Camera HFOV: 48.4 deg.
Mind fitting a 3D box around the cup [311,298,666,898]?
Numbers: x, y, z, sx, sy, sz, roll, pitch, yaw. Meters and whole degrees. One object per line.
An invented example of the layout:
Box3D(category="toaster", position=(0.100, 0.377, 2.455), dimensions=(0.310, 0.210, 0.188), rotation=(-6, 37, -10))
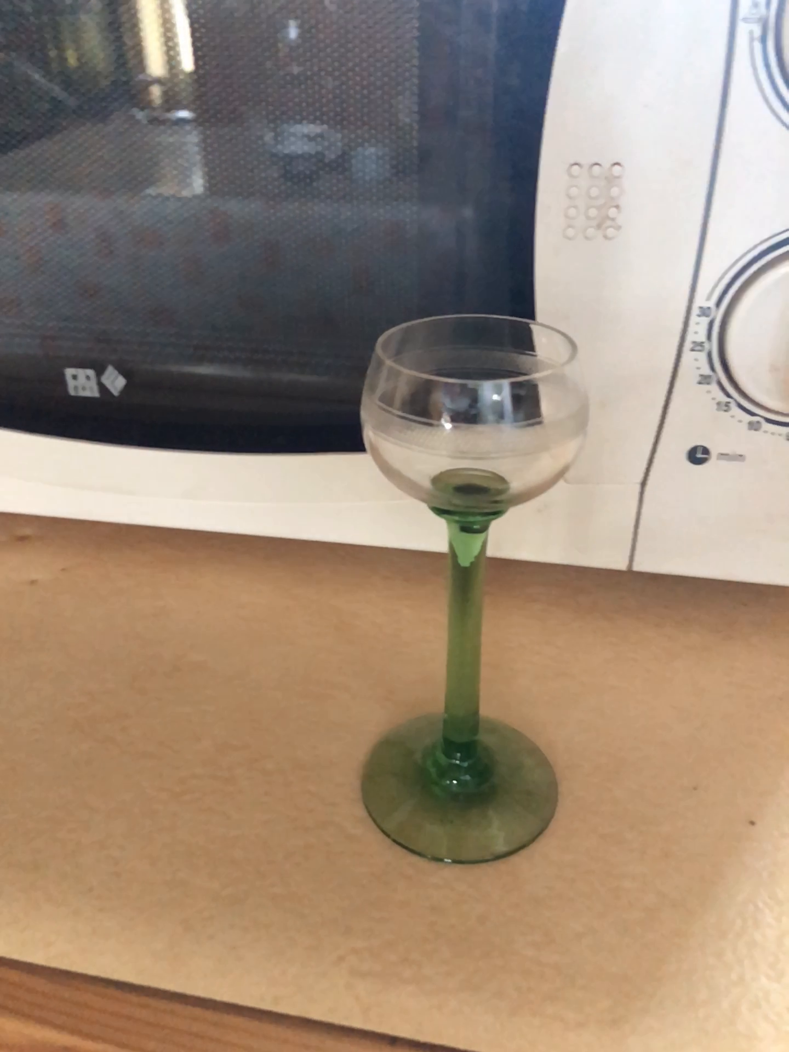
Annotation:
Box3D(category="cup", position=(0.016, 0.019, 0.207), dimensions=(0.060, 0.129, 0.060), rotation=(0, 31, 0))
